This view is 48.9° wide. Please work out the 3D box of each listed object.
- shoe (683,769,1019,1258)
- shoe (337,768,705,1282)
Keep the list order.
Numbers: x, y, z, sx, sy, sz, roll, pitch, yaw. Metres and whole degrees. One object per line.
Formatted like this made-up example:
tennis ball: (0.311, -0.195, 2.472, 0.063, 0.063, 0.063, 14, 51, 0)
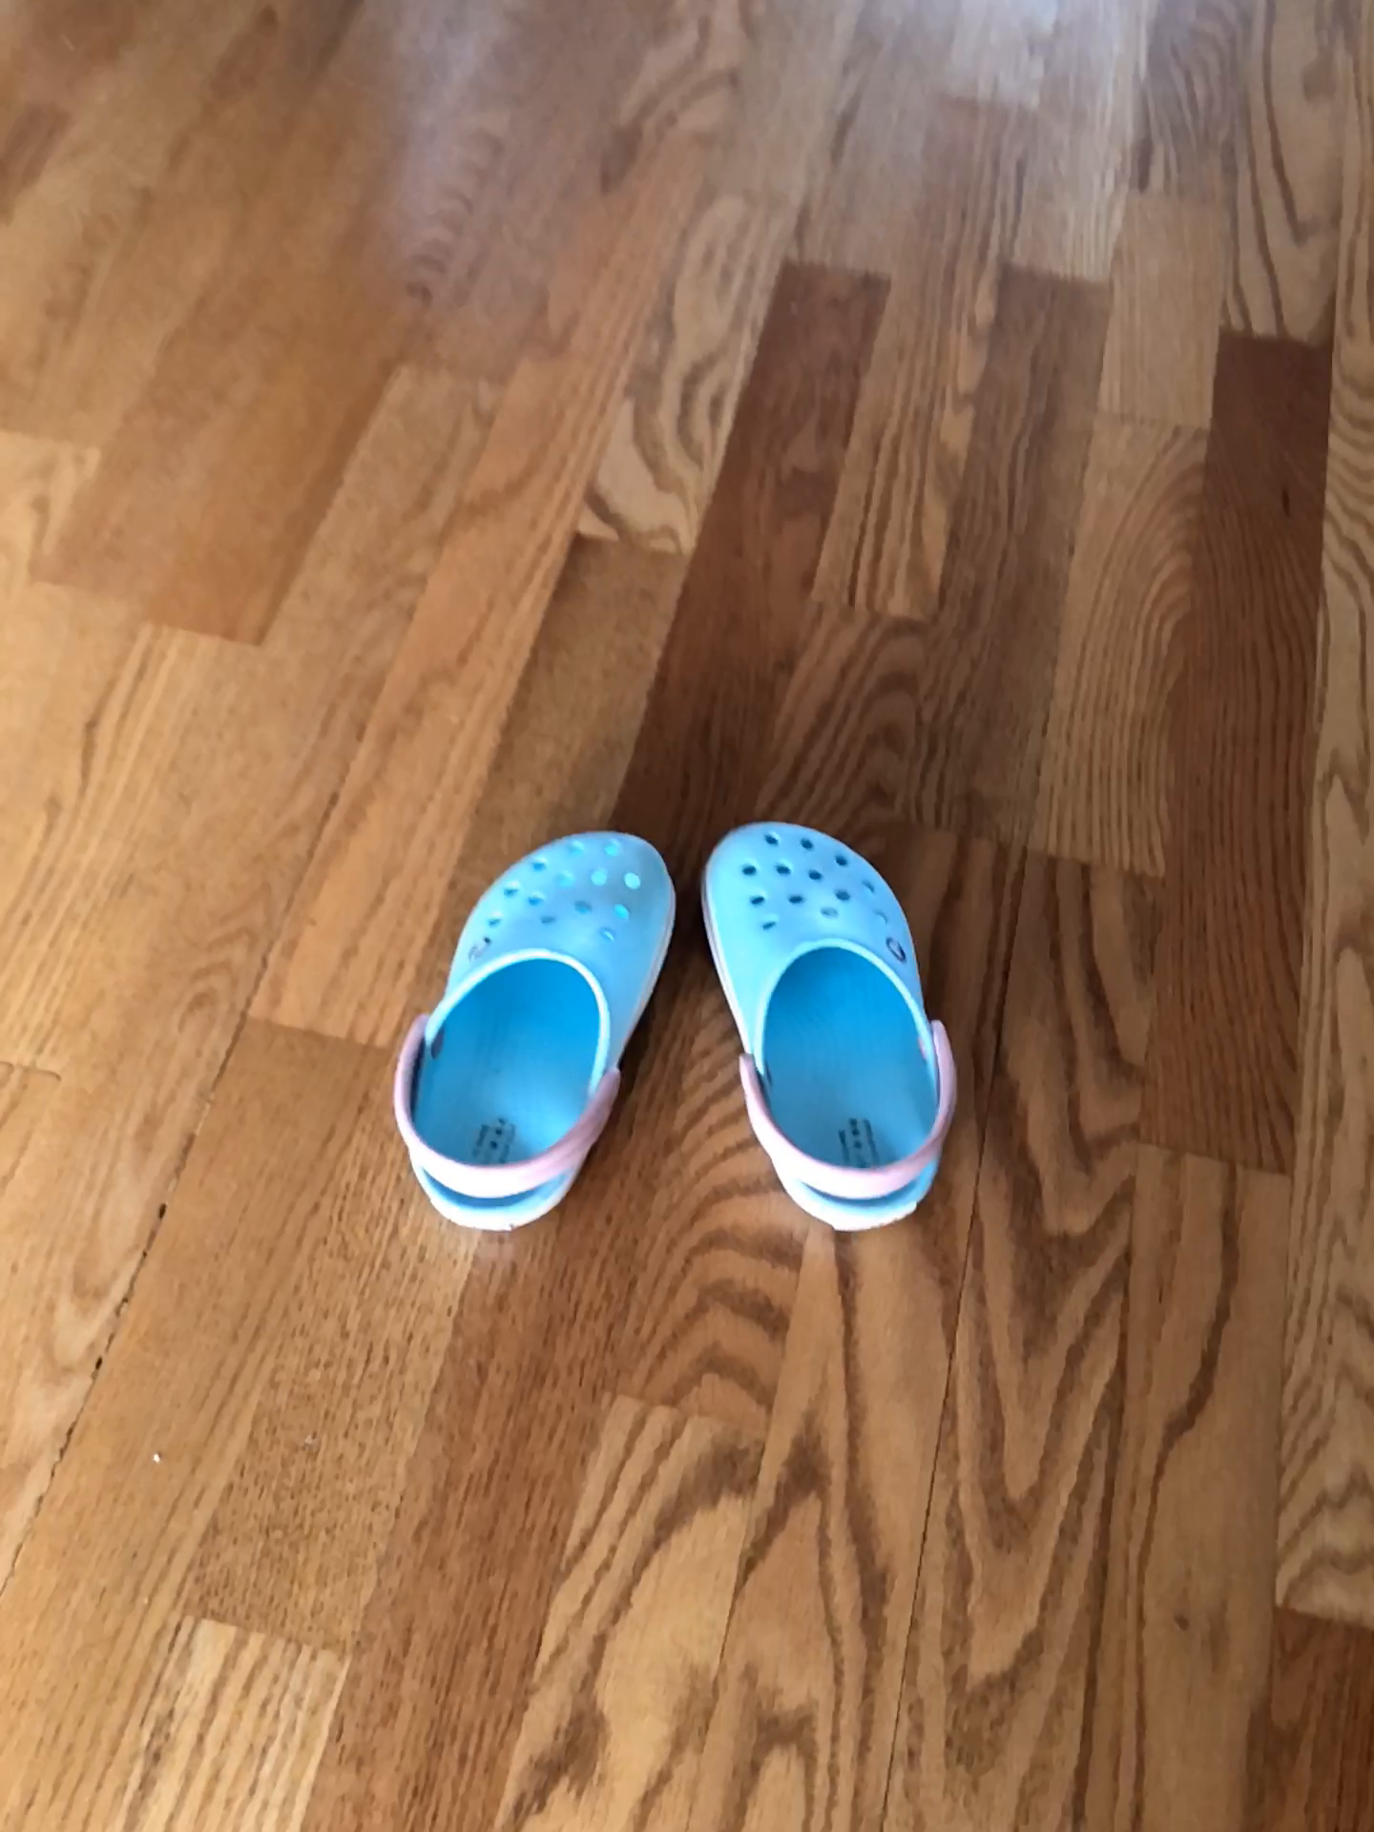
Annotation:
shoe: (0.054, 0.032, 0.557, 0.083, 0.048, 0.165, -8, 62, -6)
shoe: (-0.055, 0.037, 0.555, 0.083, 0.057, 0.165, 13, 61, 6)
